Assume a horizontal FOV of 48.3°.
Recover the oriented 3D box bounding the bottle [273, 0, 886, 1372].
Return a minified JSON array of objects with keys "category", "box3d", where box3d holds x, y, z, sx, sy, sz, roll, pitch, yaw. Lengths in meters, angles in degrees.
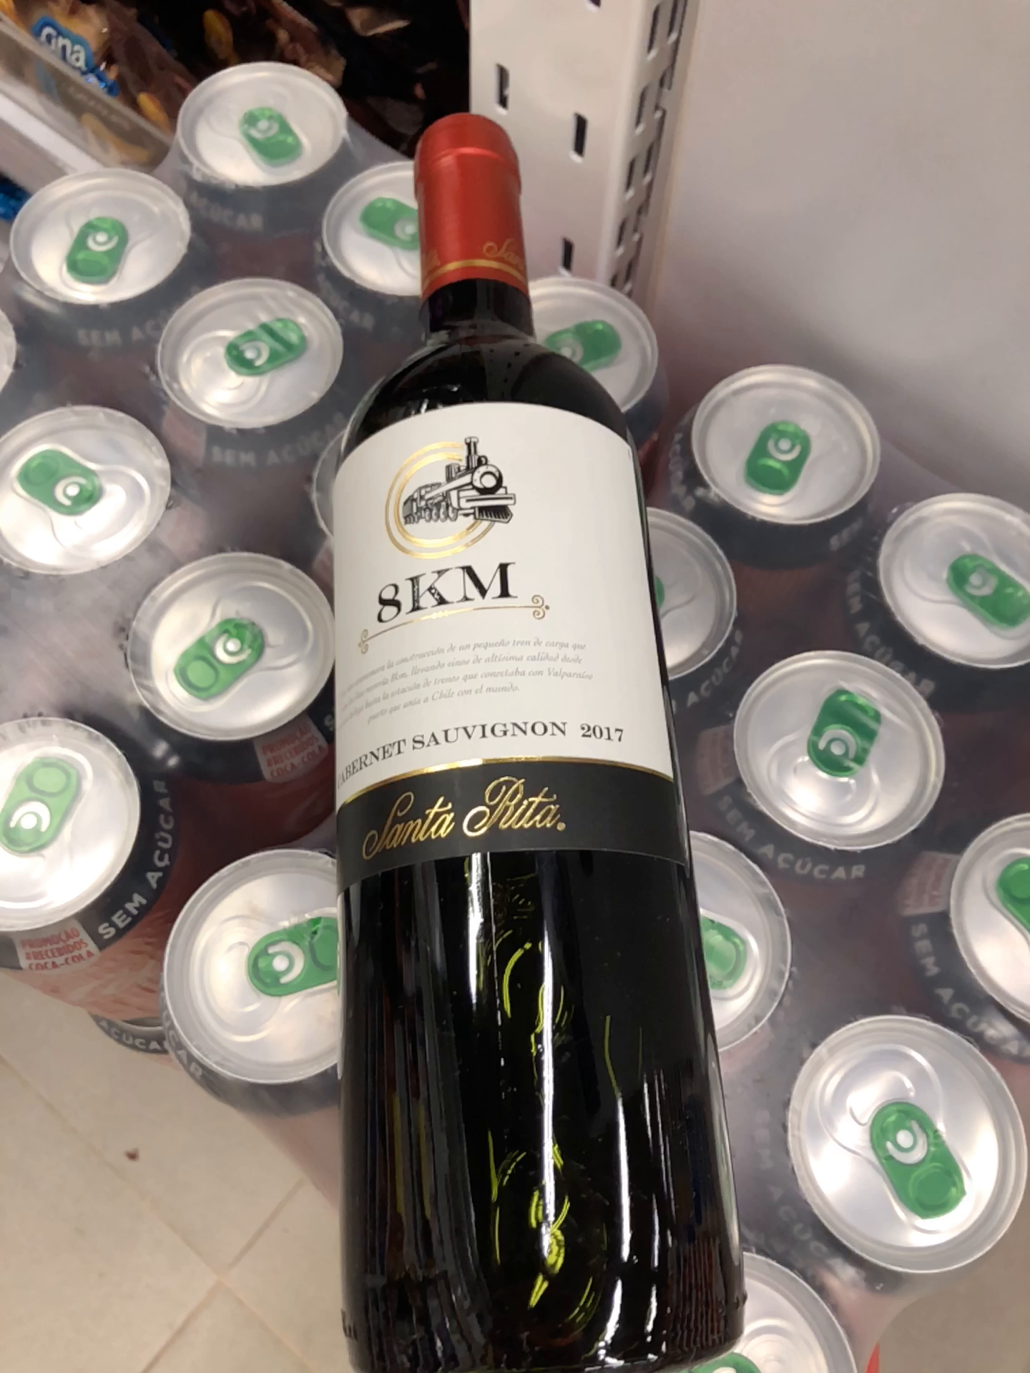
[{"category":"bottle","box3d":[-0.005,-0.032,0.257,0.080,0.070,0.321,-5,67,-4]}]
